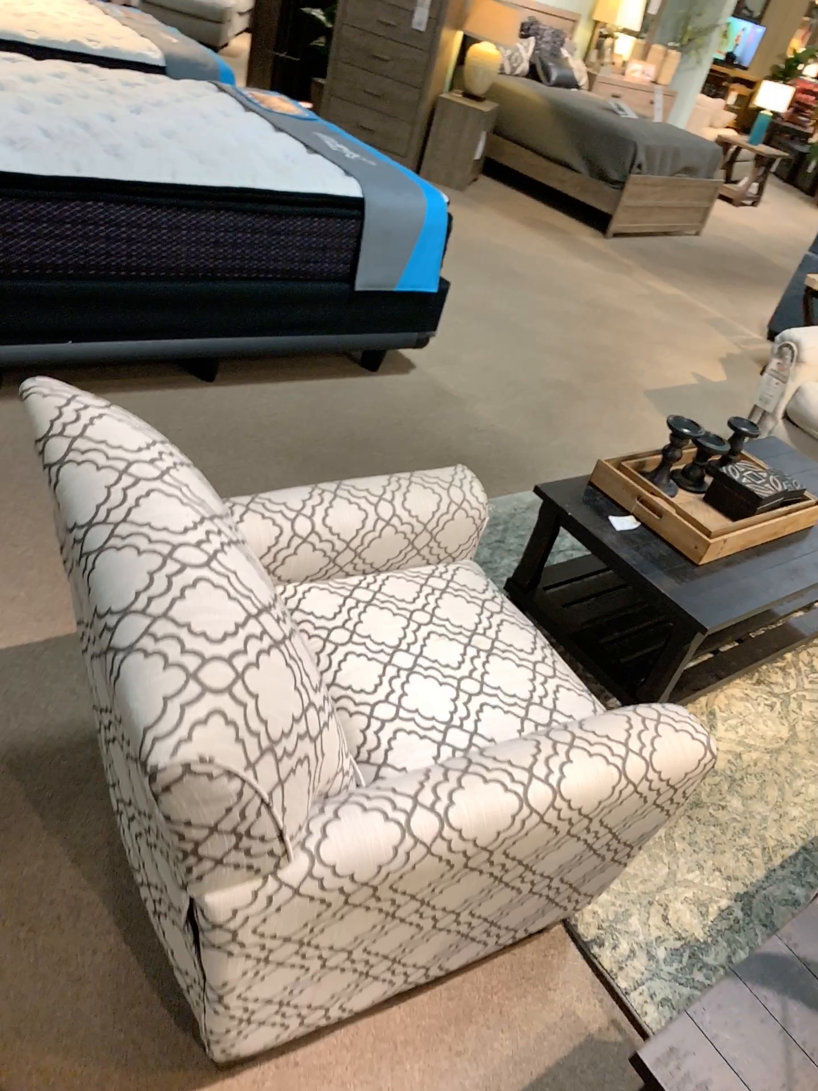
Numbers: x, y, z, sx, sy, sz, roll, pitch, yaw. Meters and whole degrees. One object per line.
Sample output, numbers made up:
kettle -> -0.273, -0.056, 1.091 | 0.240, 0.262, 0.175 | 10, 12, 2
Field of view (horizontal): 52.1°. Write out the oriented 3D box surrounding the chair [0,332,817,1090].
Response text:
chair -> -0.117, 0.222, 1.478 | 0.966, 0.847, 0.877 | -7, 41, -31
